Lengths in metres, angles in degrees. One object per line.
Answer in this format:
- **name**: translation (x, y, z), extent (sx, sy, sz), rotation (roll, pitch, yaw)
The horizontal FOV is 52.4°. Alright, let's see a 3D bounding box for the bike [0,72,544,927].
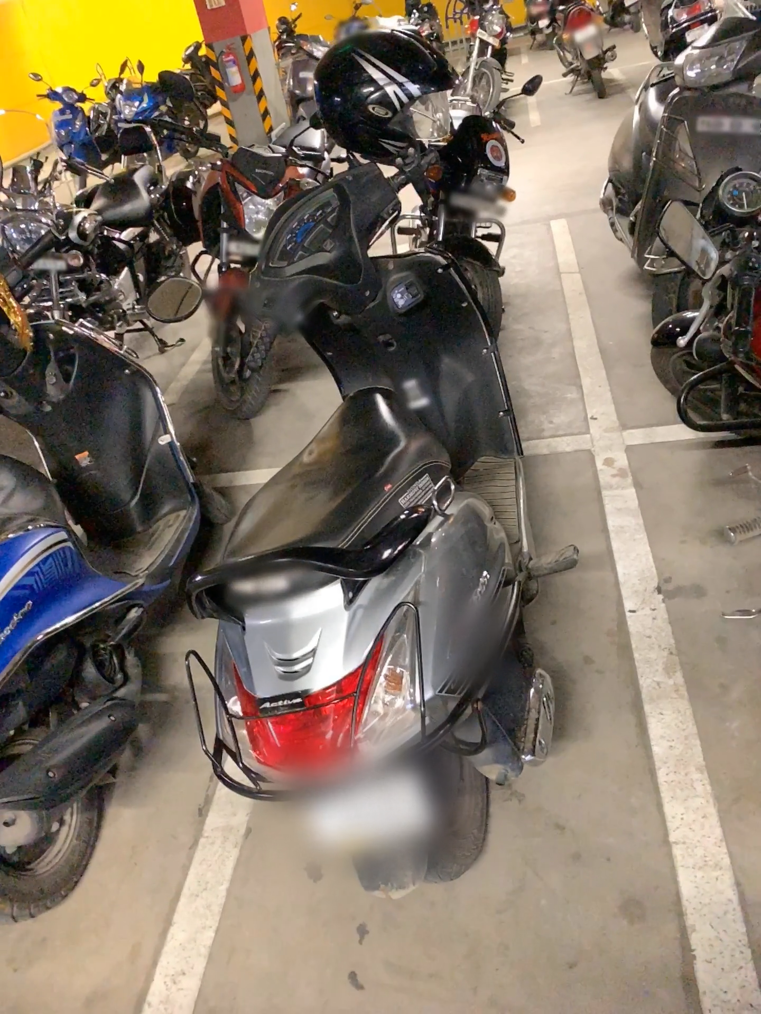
- **bike**: translation (-0.076, -0.149, 1.751), extent (0.630, 1.089, 1.541), rotation (-7, 37, 10)
